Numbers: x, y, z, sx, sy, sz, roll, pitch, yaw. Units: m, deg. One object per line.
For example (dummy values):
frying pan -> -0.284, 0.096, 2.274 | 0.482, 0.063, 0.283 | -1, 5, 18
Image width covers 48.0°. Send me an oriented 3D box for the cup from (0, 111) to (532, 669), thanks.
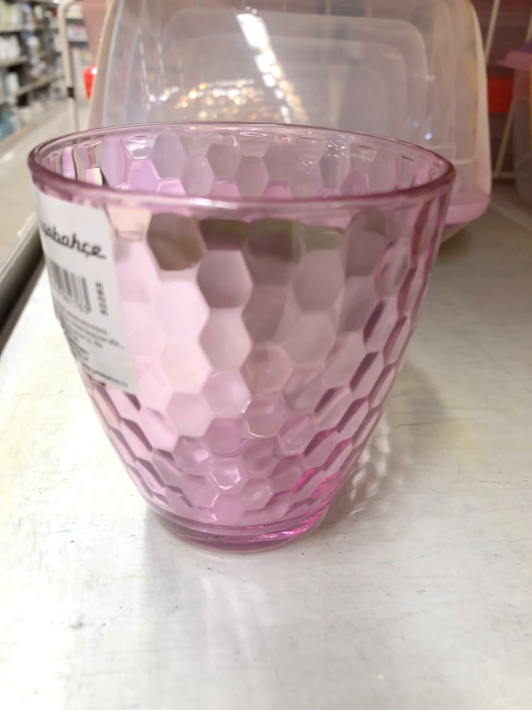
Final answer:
cup -> -0.008, -0.007, 0.134 | 0.078, 0.075, 0.090 | -12, 31, -21
